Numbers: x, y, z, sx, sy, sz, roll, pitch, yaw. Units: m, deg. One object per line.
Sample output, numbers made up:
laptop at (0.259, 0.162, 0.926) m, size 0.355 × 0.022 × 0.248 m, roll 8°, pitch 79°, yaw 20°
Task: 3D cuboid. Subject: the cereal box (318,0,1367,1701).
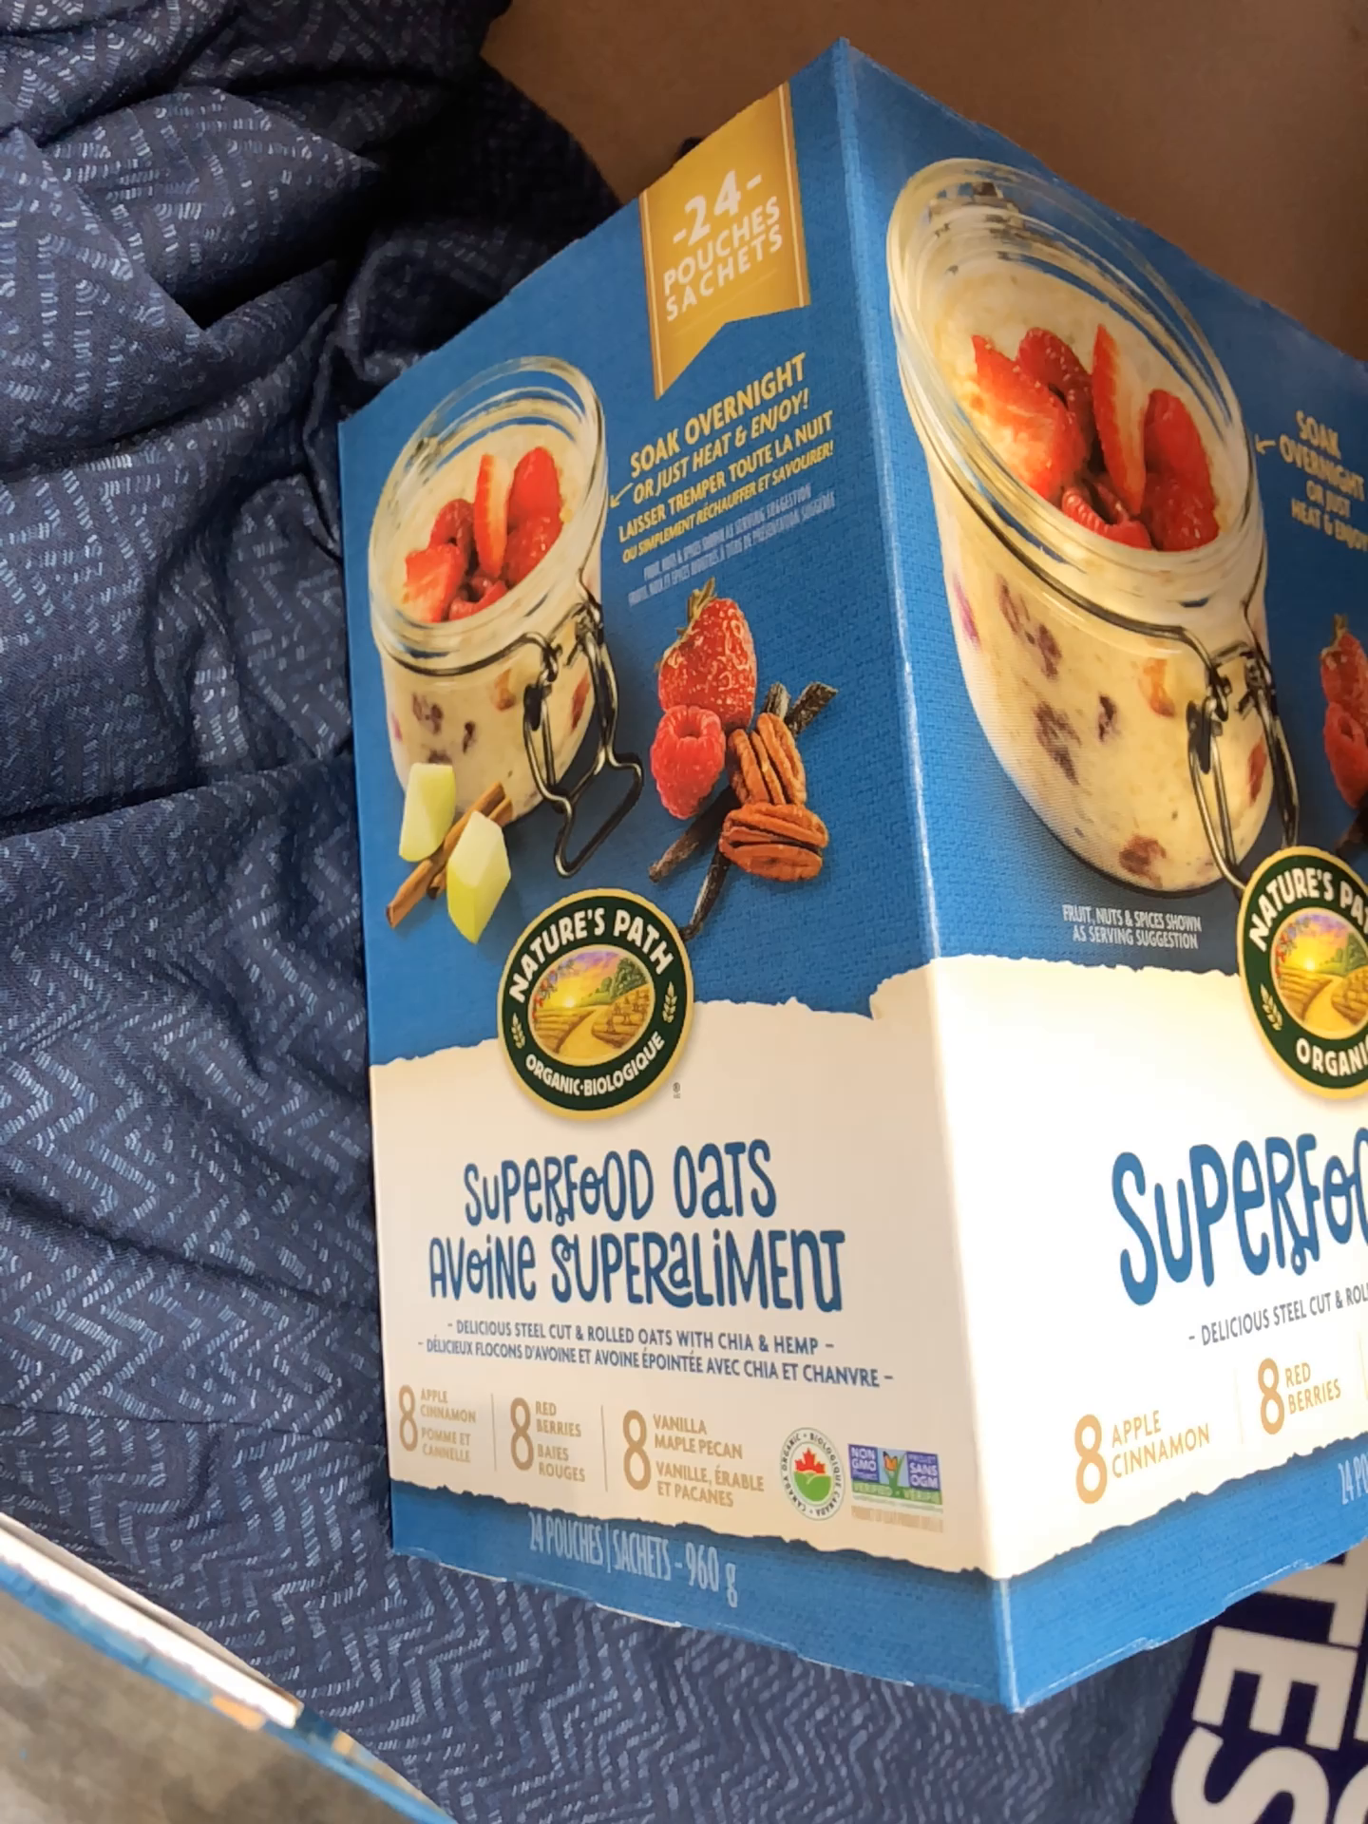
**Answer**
cereal box at (0.072, -0.001, 0.350) m, size 0.251 × 0.149 × 0.240 m, roll 3°, pitch 78°, yaw -43°
